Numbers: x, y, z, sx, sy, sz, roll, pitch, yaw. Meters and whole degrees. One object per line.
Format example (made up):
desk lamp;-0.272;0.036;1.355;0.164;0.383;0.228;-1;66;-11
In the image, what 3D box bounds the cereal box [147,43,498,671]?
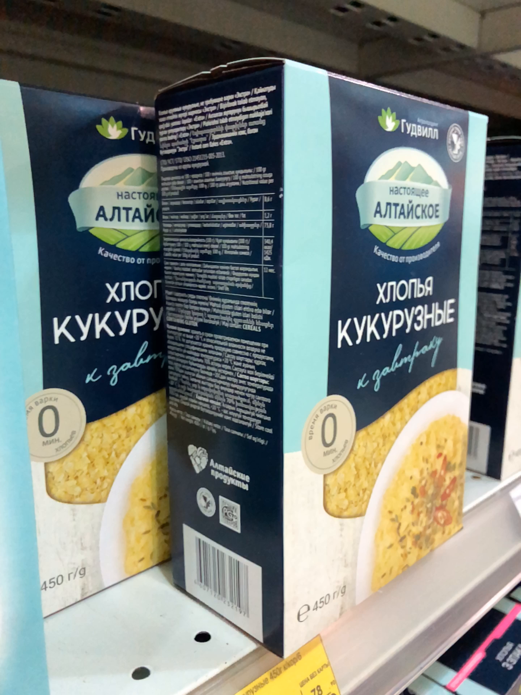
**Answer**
cereal box;0.034;-0.002;0.242;0.060;0.189;0.140;10;15;44
